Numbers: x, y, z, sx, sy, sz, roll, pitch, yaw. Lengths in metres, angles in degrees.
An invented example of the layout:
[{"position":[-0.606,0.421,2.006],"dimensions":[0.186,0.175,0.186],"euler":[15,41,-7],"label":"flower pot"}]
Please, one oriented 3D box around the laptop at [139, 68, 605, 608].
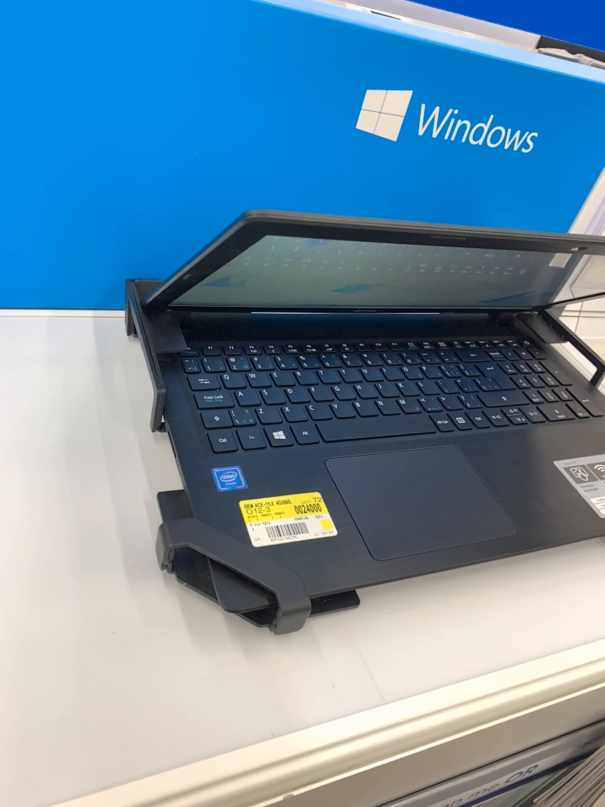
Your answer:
[{"position":[0.102,-0.055,0.375],"dimensions":[0.345,0.157,0.233],"euler":[-3,42,-25],"label":"laptop"}]
